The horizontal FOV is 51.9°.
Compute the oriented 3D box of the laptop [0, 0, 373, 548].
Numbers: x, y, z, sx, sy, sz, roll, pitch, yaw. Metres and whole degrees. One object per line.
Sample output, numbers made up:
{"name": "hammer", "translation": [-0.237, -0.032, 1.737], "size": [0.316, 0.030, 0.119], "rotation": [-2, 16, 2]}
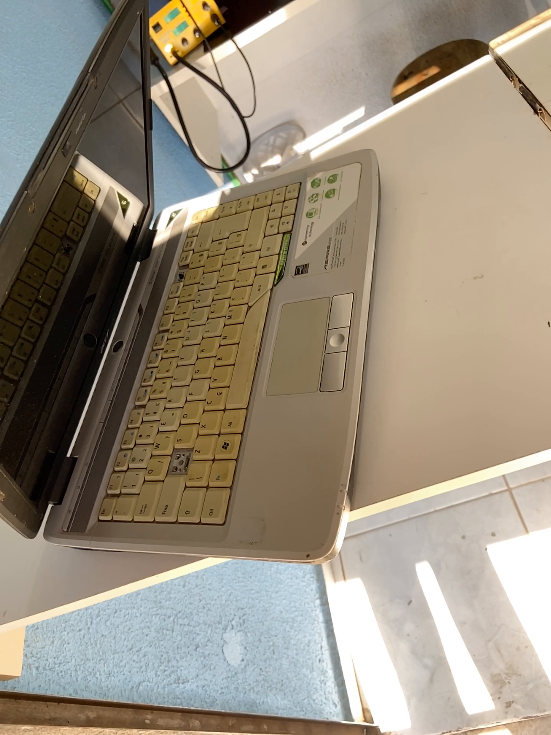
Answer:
{"name": "laptop", "translation": [-0.088, -0.074, 0.382], "size": [0.225, 0.180, 0.329], "rotation": [-7, 57, 29]}
